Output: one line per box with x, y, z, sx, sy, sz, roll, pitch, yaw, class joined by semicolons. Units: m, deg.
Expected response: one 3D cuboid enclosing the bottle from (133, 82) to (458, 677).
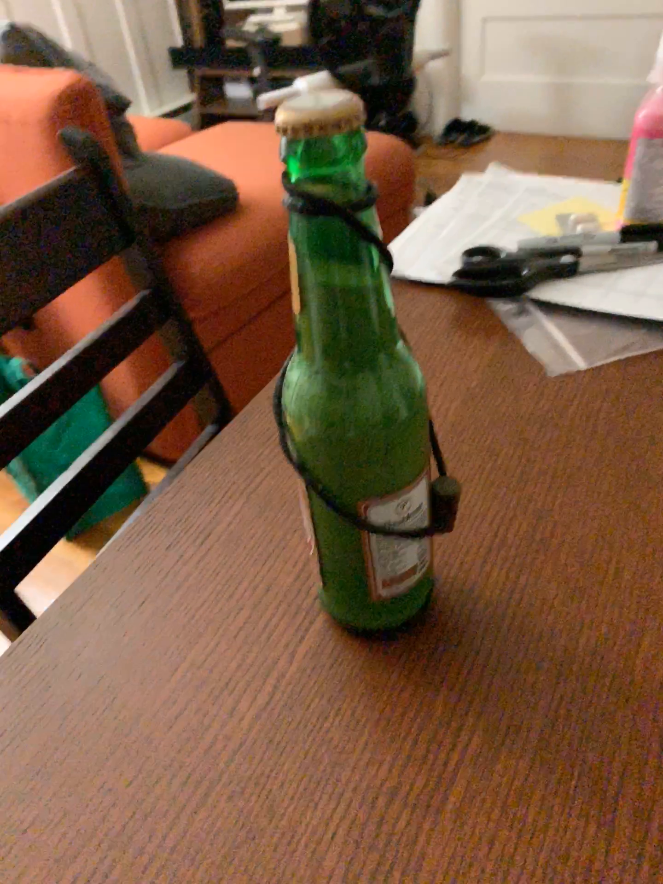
0.000;-0.011;0.297;0.080;0.239;0.070;-29;44;-24;bottle
